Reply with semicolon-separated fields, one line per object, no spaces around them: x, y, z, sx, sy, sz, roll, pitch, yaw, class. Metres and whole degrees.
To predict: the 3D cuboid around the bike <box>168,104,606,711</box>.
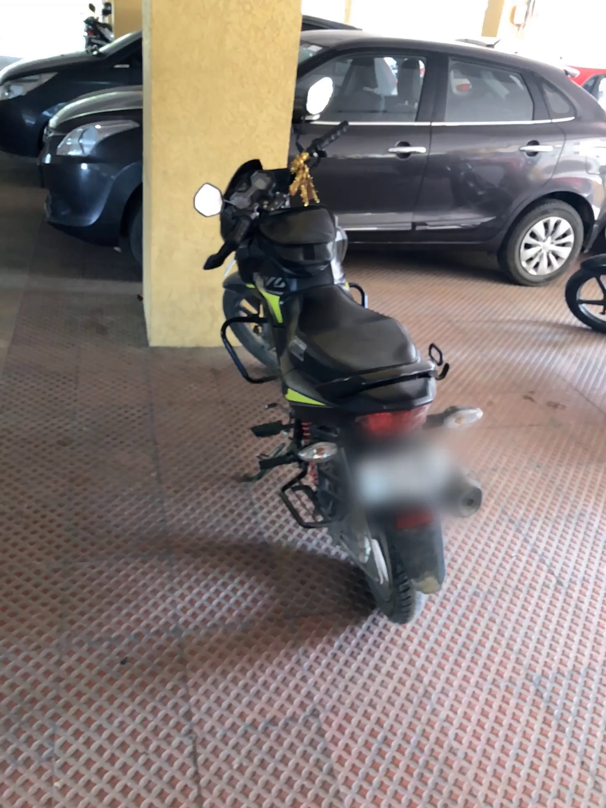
0.011;-0.193;2.056;0.717;1.089;1.628;-2;31;-16;bike
